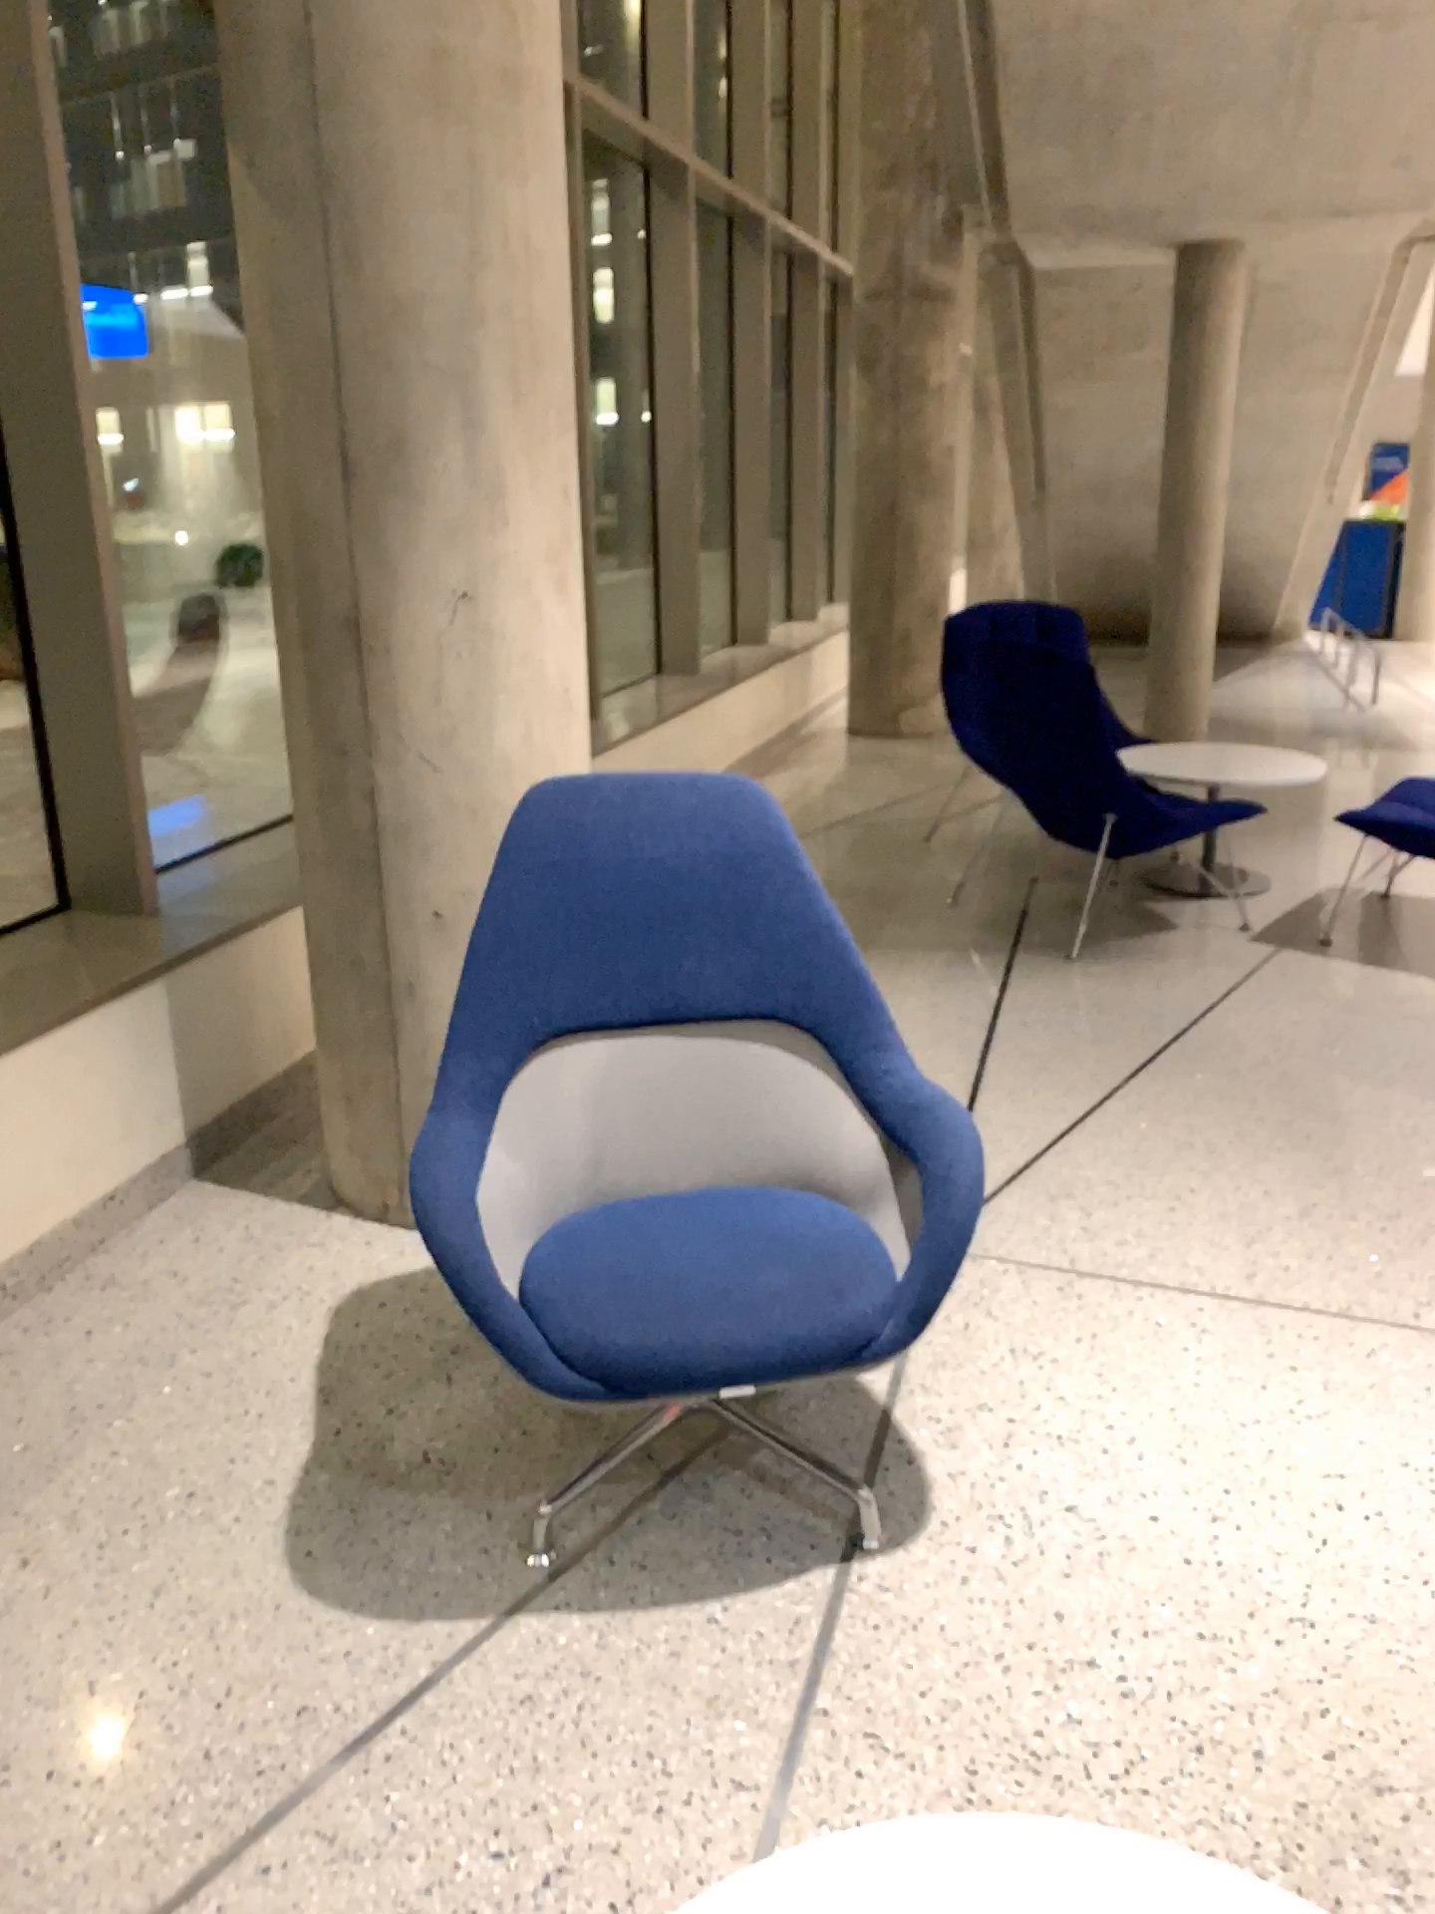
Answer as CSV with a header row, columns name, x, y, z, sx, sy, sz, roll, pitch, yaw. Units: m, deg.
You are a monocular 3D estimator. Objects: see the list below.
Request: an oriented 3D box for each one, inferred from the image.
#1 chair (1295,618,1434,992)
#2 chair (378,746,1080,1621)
name,x,y,z,sx,sy,sz,roll,pitch,yaw
chair,2.372,-0.522,4.547,0.783,0.919,0.887,13,22,38
chair,-0.020,0.261,2.130,0.814,0.999,0.634,-3,17,-9
